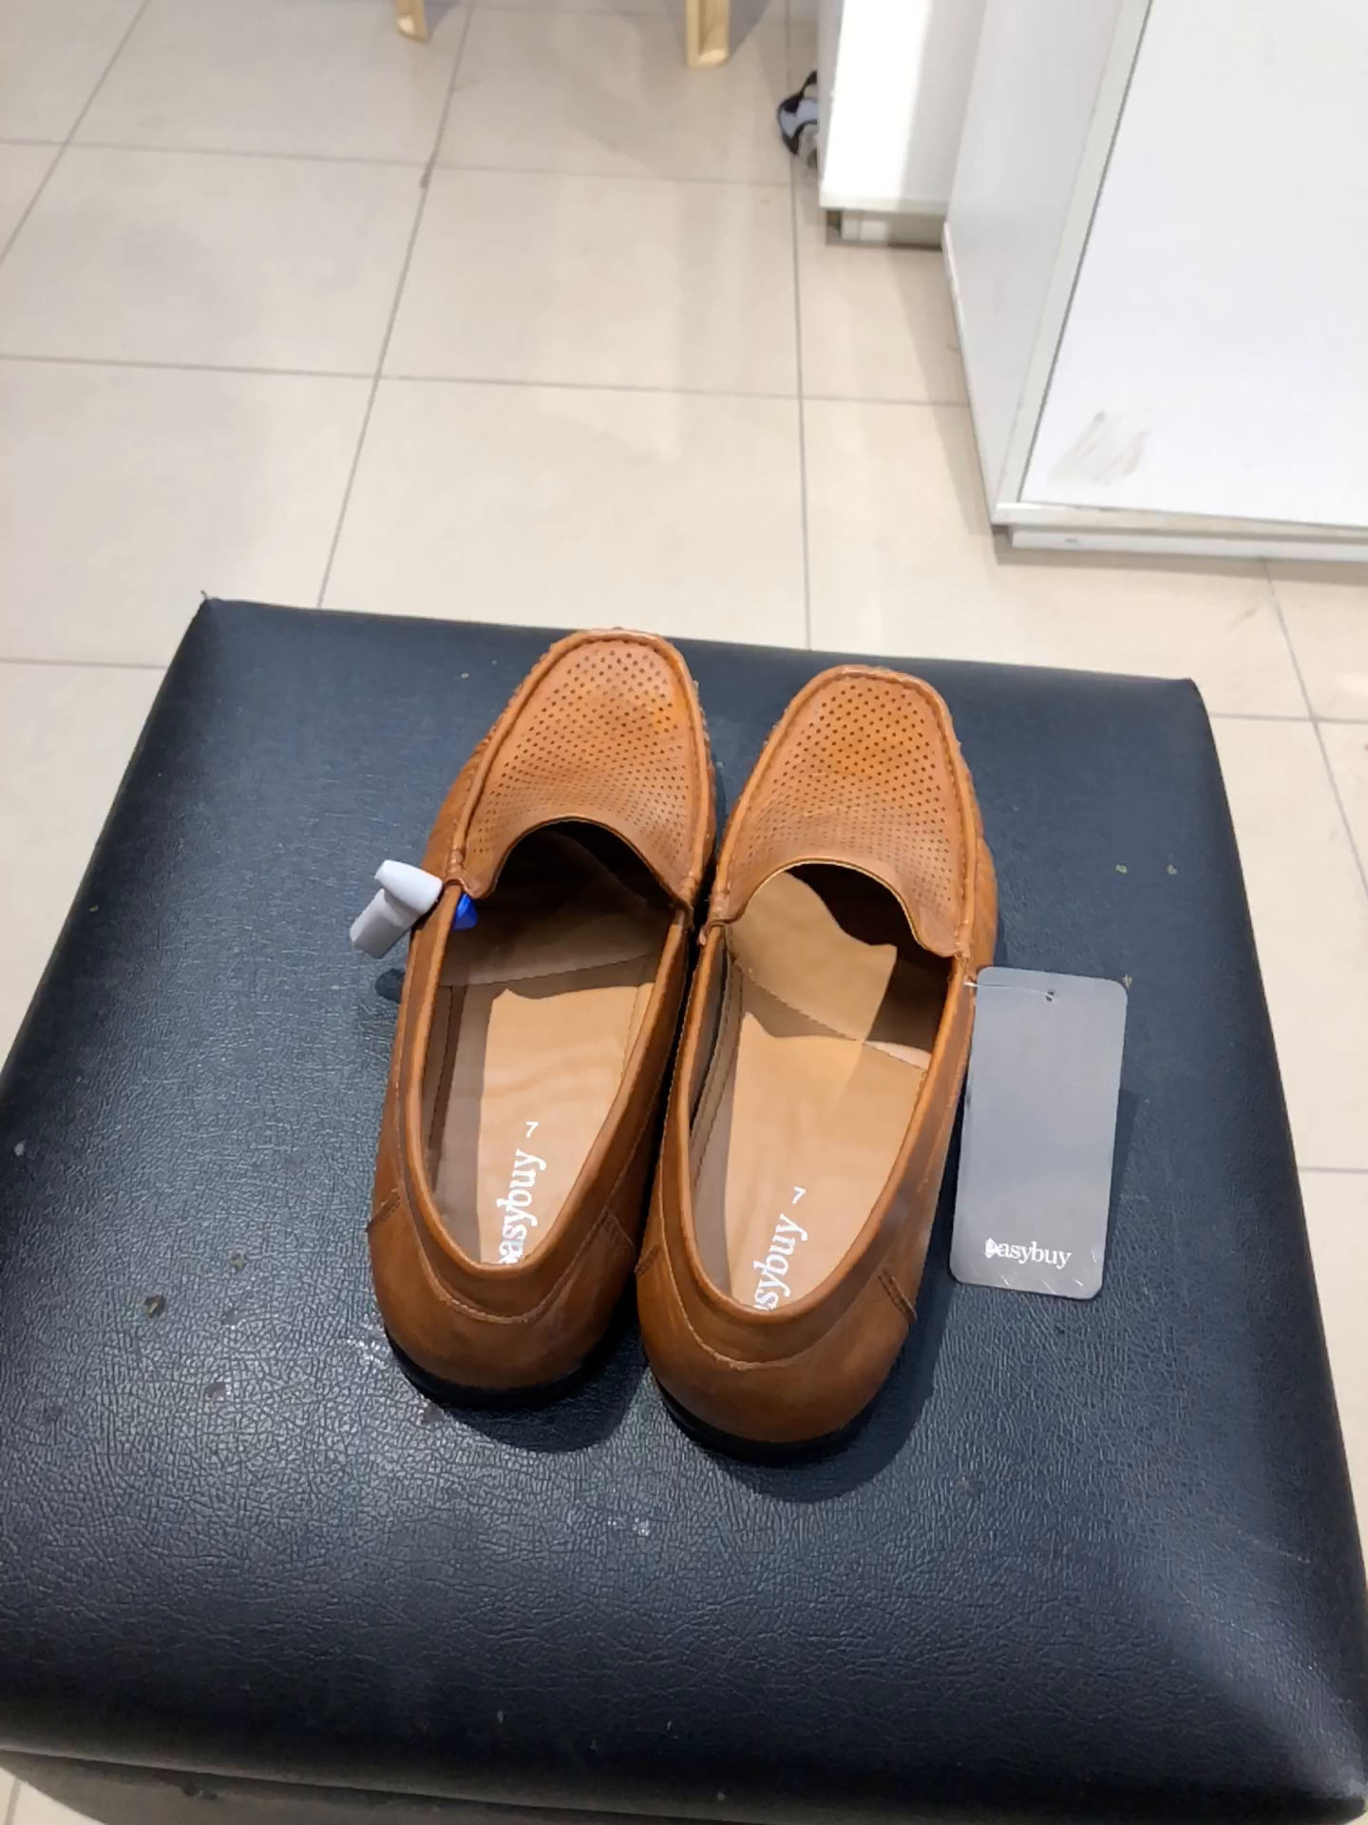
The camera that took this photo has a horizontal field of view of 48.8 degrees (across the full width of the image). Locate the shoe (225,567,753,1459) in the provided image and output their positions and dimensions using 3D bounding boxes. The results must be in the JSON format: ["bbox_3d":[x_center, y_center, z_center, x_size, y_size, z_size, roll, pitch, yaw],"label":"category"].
[{"bbox_3d":[-0.044,0.019,0.466,0.097,0.096,0.254,8,53,3],"label":"shoe"}]

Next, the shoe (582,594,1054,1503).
[{"bbox_3d":[0.047,0.029,0.465,0.097,0.096,0.254,11,53,5],"label":"shoe"}]
